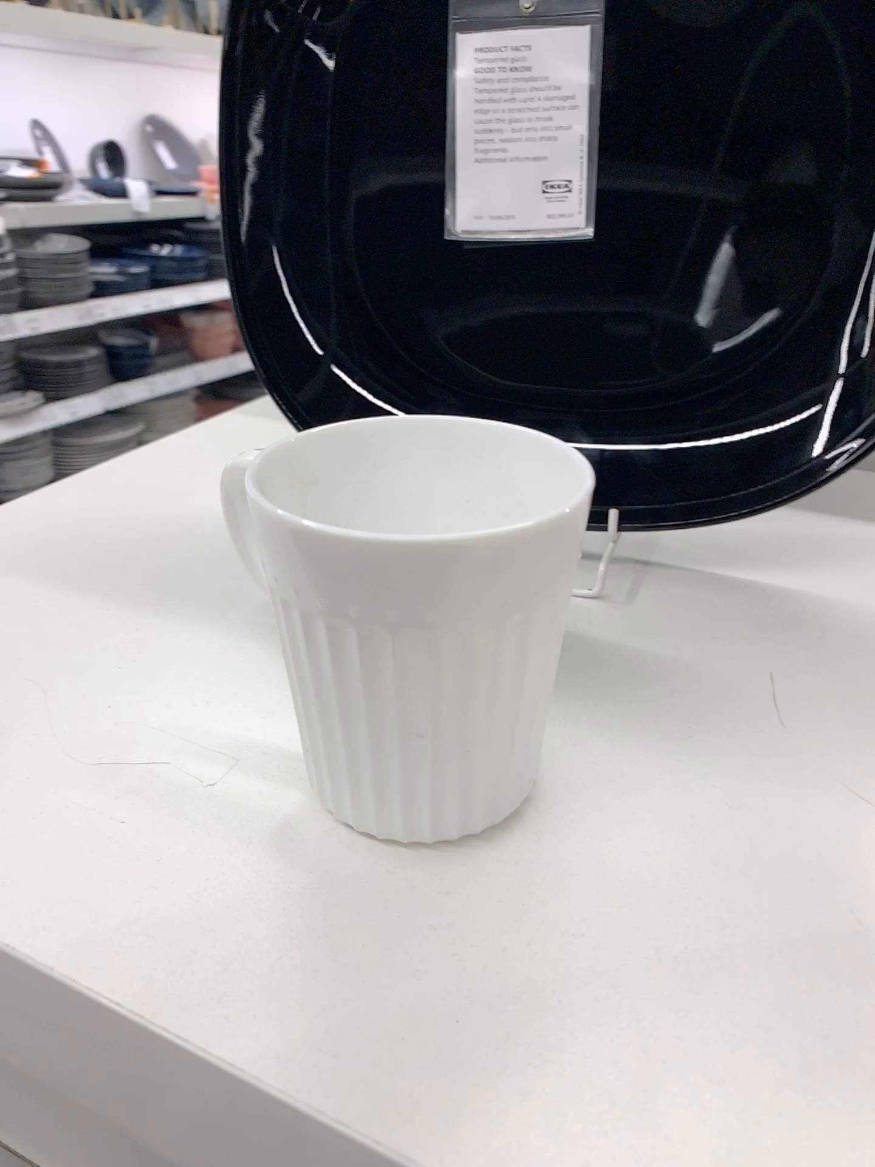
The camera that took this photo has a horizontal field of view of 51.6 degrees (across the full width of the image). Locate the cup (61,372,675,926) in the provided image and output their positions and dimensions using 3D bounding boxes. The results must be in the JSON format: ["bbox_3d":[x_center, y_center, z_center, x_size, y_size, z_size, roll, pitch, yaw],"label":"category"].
[{"bbox_3d":[-0.015,0.003,0.227,0.110,0.080,0.090,17,30,29],"label":"cup"}]
